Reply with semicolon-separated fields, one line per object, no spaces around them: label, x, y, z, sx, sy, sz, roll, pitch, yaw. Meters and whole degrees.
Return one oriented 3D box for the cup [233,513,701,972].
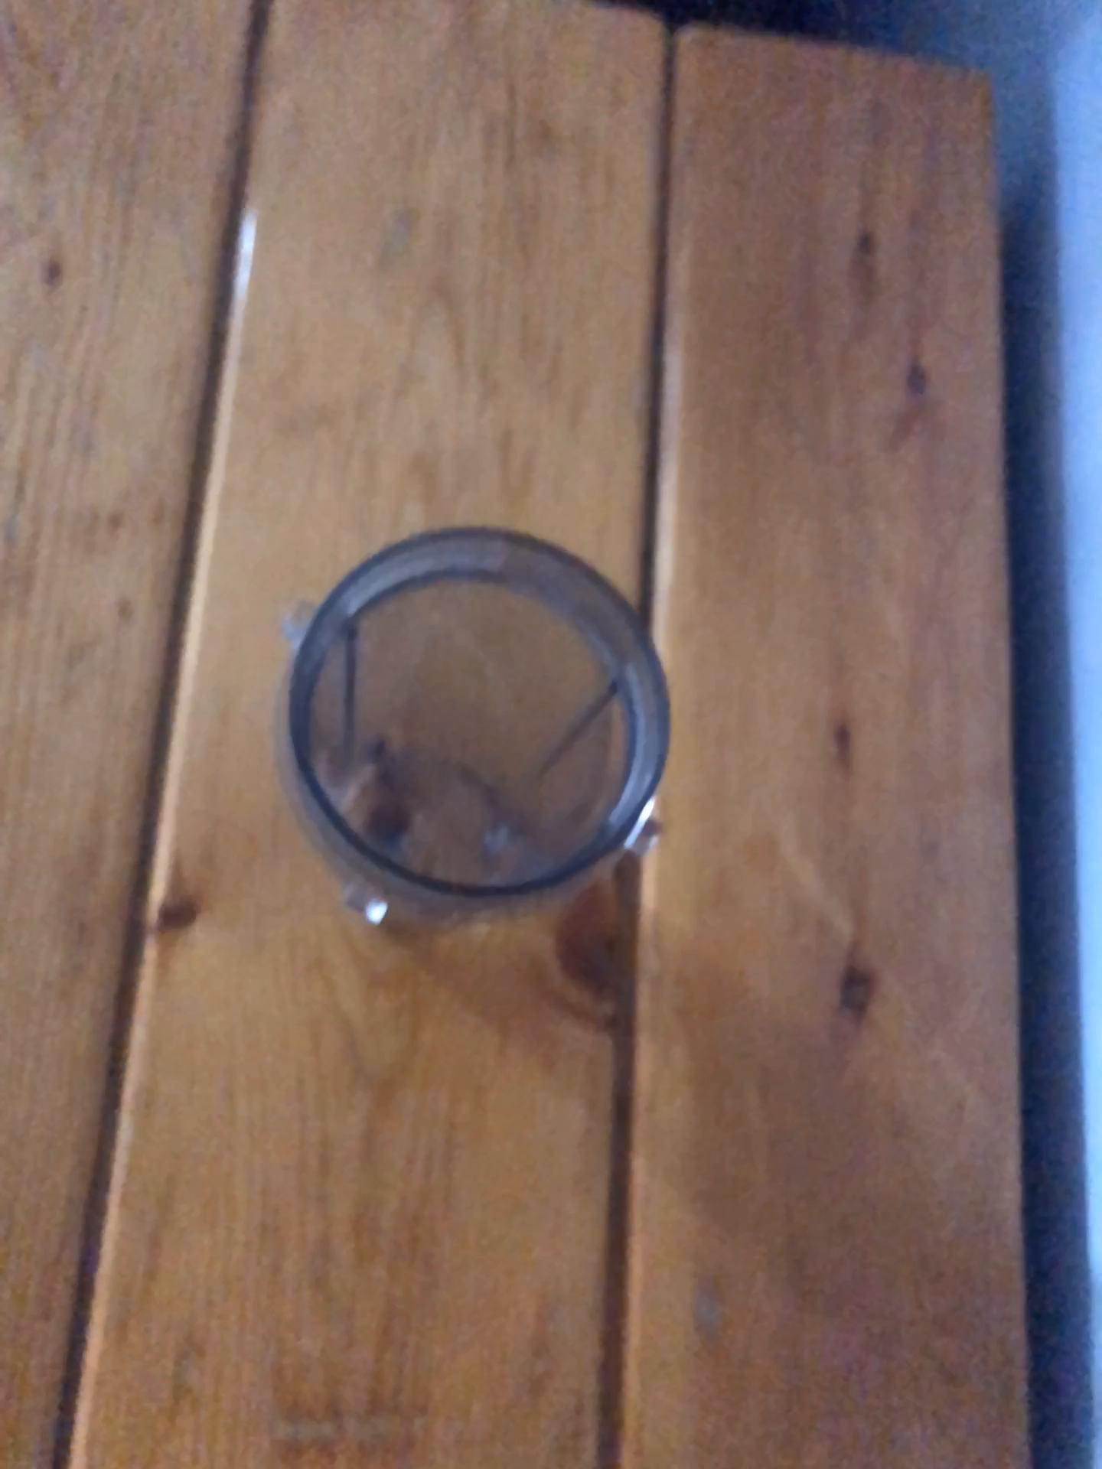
cup;-0.031;0.016;0.345;0.090;0.190;0.080;-3;77;-9
